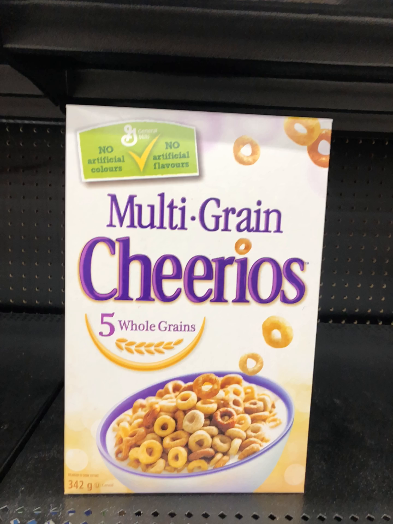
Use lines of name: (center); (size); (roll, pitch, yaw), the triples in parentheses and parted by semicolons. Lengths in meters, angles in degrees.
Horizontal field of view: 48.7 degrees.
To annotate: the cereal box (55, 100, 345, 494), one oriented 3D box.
cereal box: (-0.003, 0.031, 0.352); (0.200, 0.289, 0.070); (2, 8, -3)
